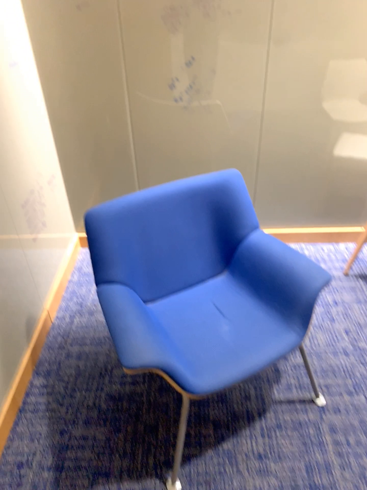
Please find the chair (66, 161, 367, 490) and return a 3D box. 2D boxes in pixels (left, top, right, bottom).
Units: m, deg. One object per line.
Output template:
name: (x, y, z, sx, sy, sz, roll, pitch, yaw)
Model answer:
chair: (0.123, 0.243, 1.395, 0.789, 0.711, 0.744, -19, 39, -21)
